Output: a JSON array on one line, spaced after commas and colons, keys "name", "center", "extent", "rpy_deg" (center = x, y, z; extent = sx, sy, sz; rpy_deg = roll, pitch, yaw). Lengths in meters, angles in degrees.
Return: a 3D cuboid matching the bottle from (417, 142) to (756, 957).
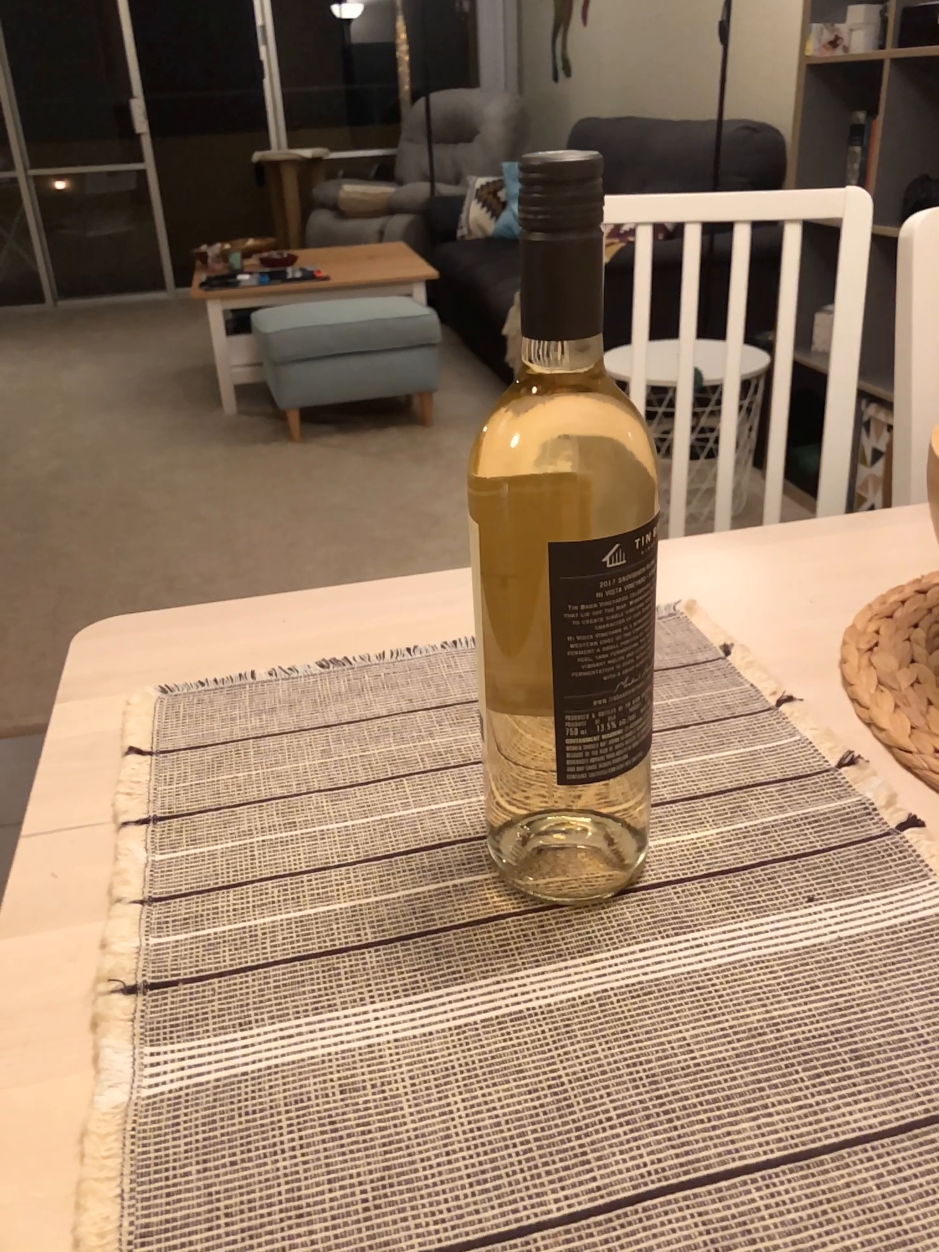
[{"name": "bottle", "center": [0.046, -0.024, 0.408], "extent": [0.080, 0.298, 0.080], "rpy_deg": [-2, 27, 1]}]
